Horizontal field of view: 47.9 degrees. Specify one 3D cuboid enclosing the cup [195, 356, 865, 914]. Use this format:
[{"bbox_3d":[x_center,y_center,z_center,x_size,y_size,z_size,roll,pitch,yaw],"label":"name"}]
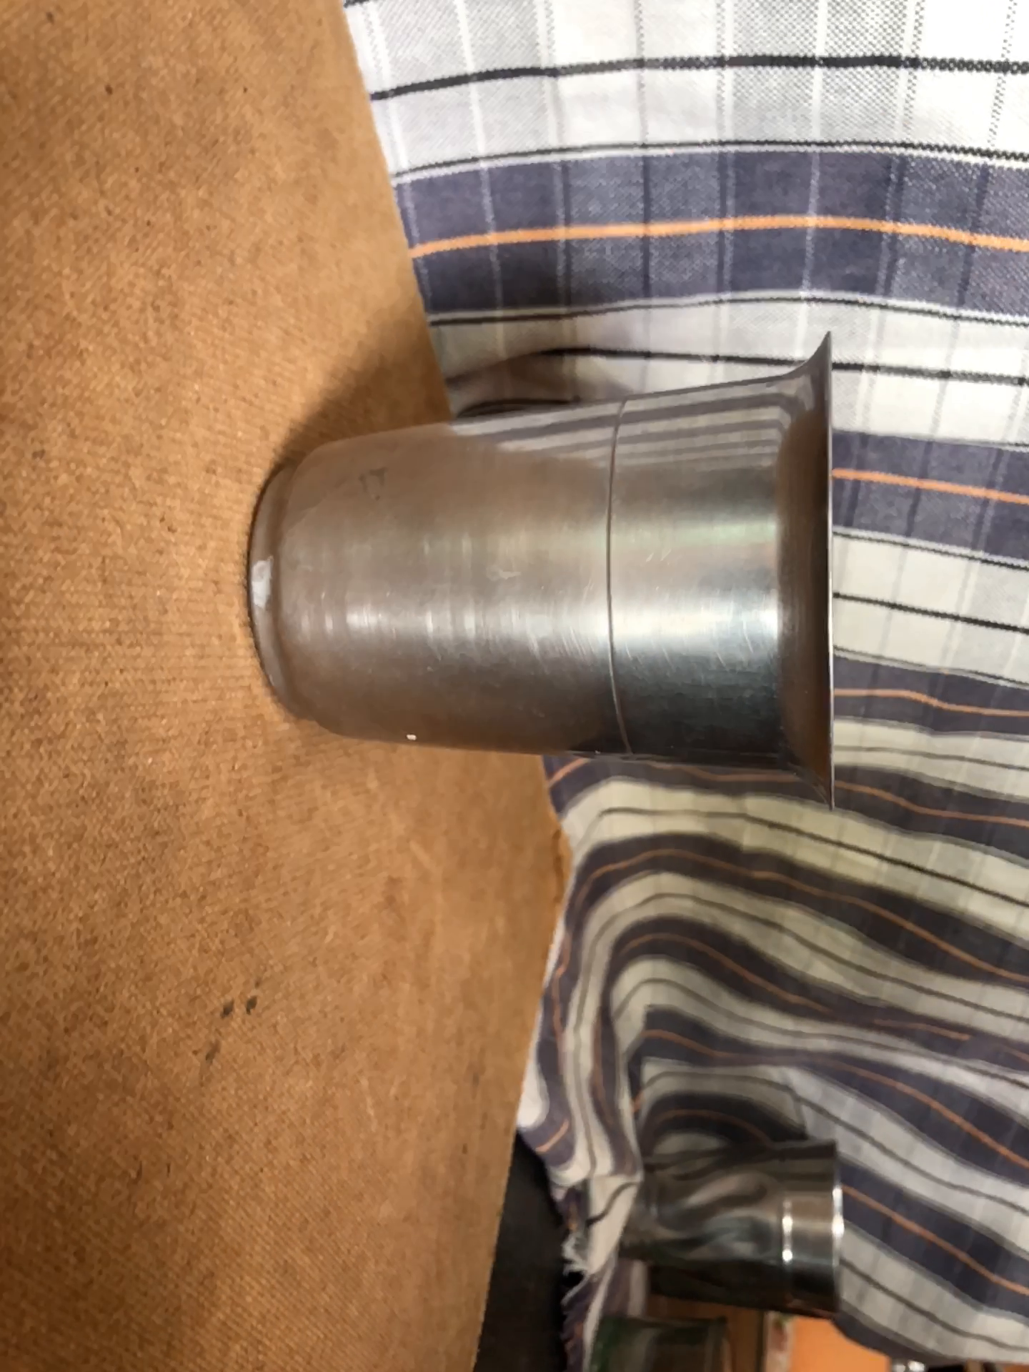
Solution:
[{"bbox_3d":[0.012,-0.014,0.218,0.080,0.100,0.080,-1,90,-76],"label":"cup"}]
